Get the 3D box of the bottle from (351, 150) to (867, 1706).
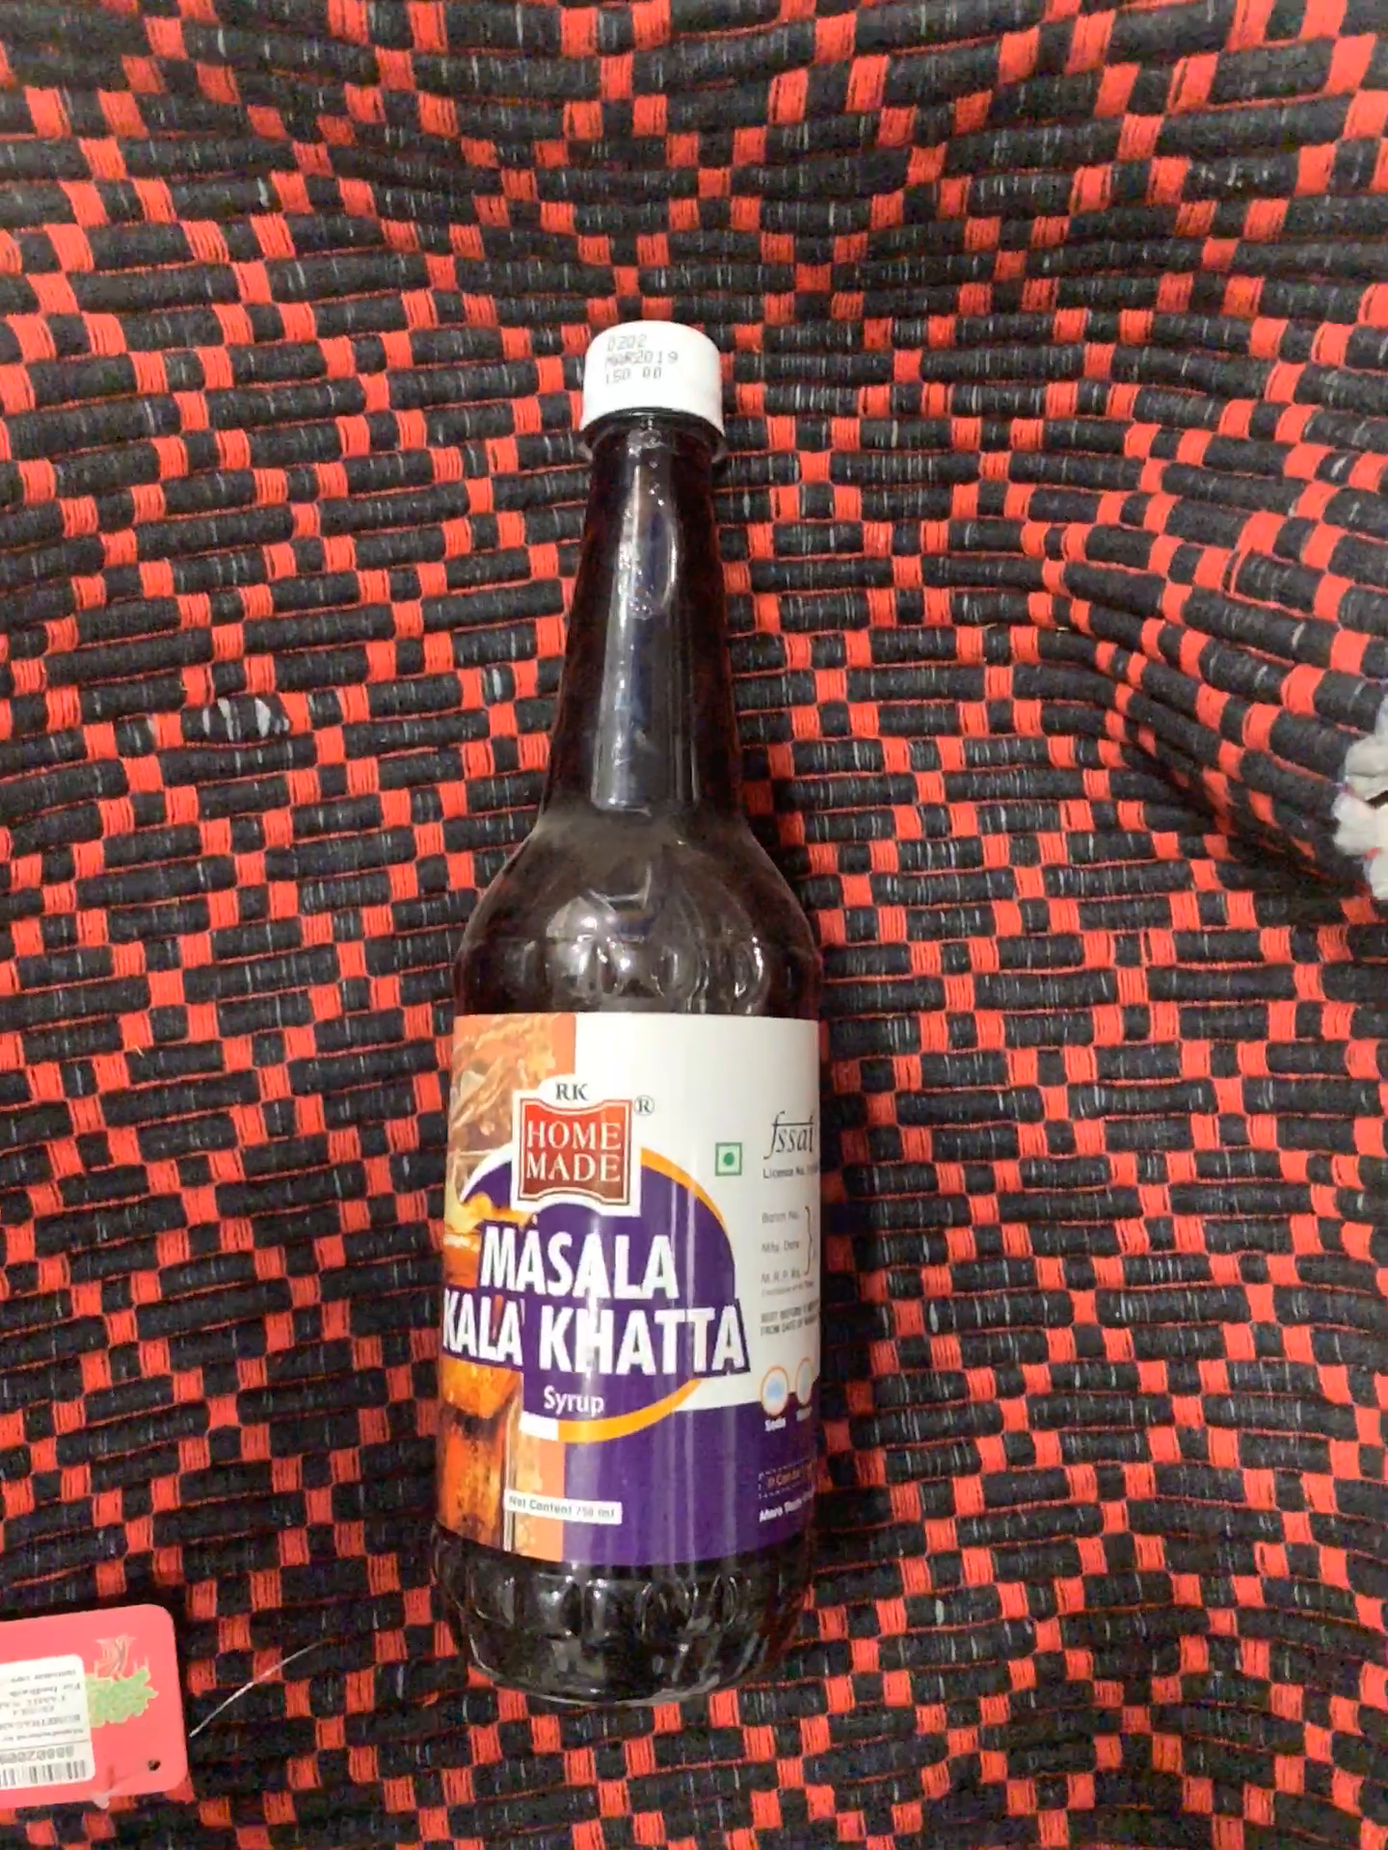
[{"bbox_3d":[-0.011,-0.004,0.279,0.080,0.080,0.260,-1,82,4],"label":"bottle"}]
